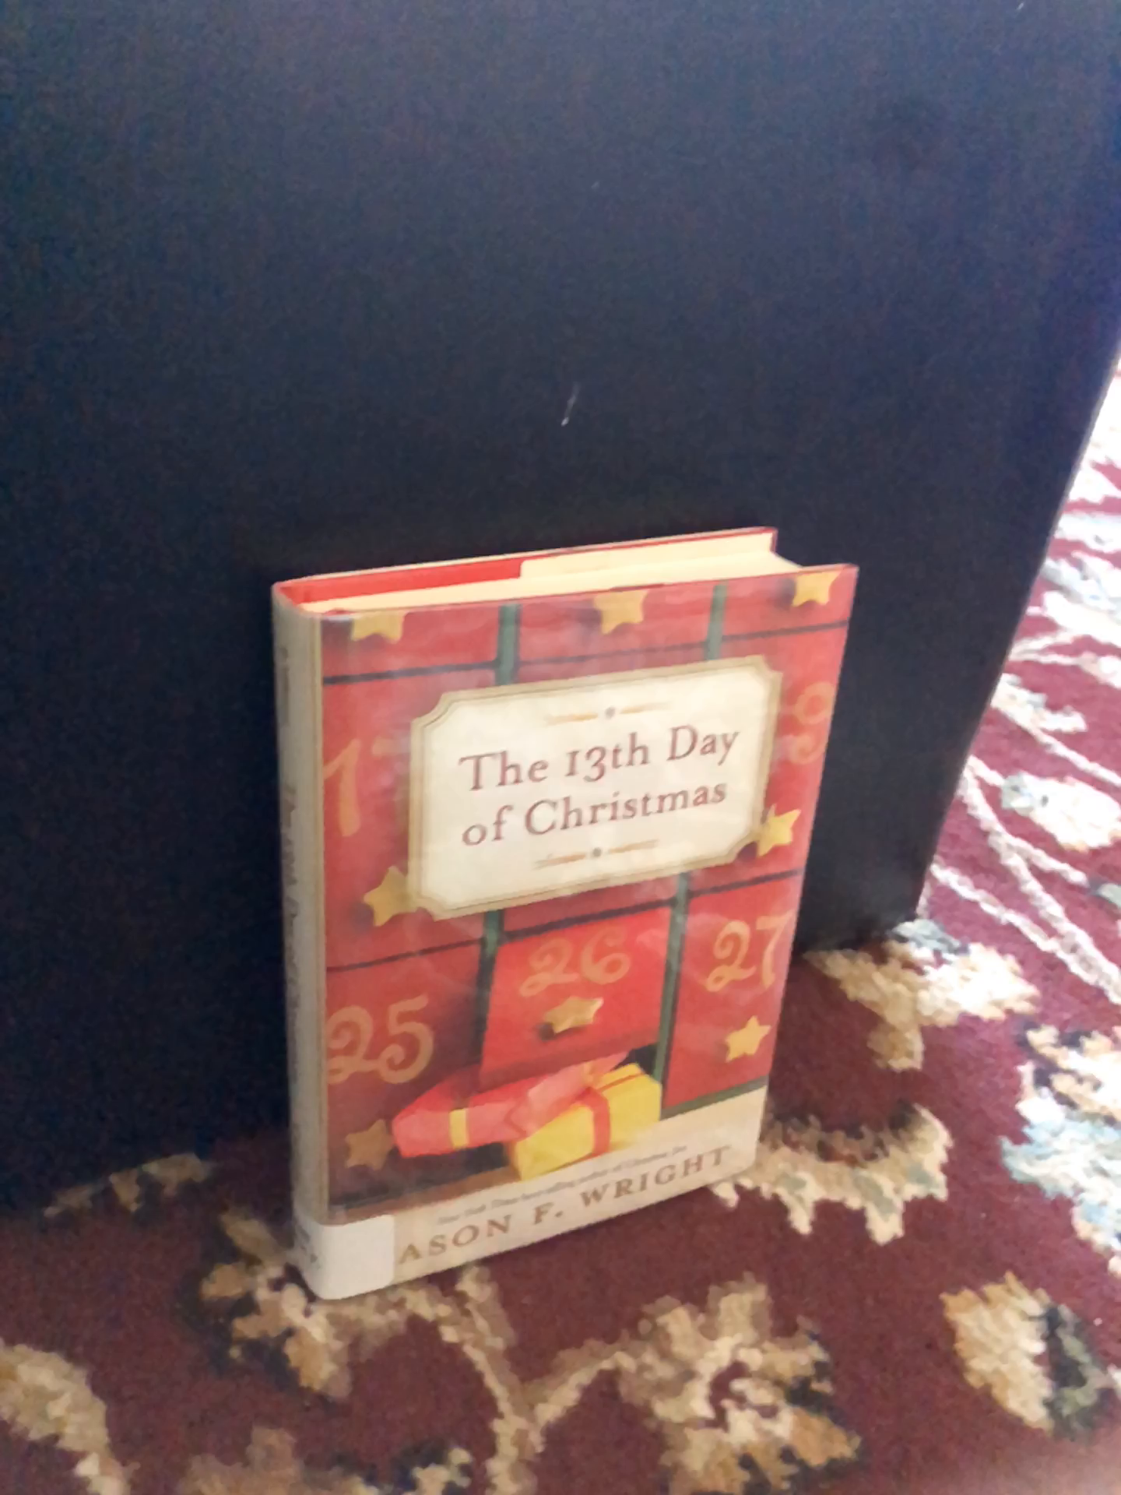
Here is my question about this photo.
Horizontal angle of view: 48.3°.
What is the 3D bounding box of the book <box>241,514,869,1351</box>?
[{"bbox_3d":[-0.003,0.044,0.317,0.138,0.190,0.040,-10,29,-28],"label":"book"}]
